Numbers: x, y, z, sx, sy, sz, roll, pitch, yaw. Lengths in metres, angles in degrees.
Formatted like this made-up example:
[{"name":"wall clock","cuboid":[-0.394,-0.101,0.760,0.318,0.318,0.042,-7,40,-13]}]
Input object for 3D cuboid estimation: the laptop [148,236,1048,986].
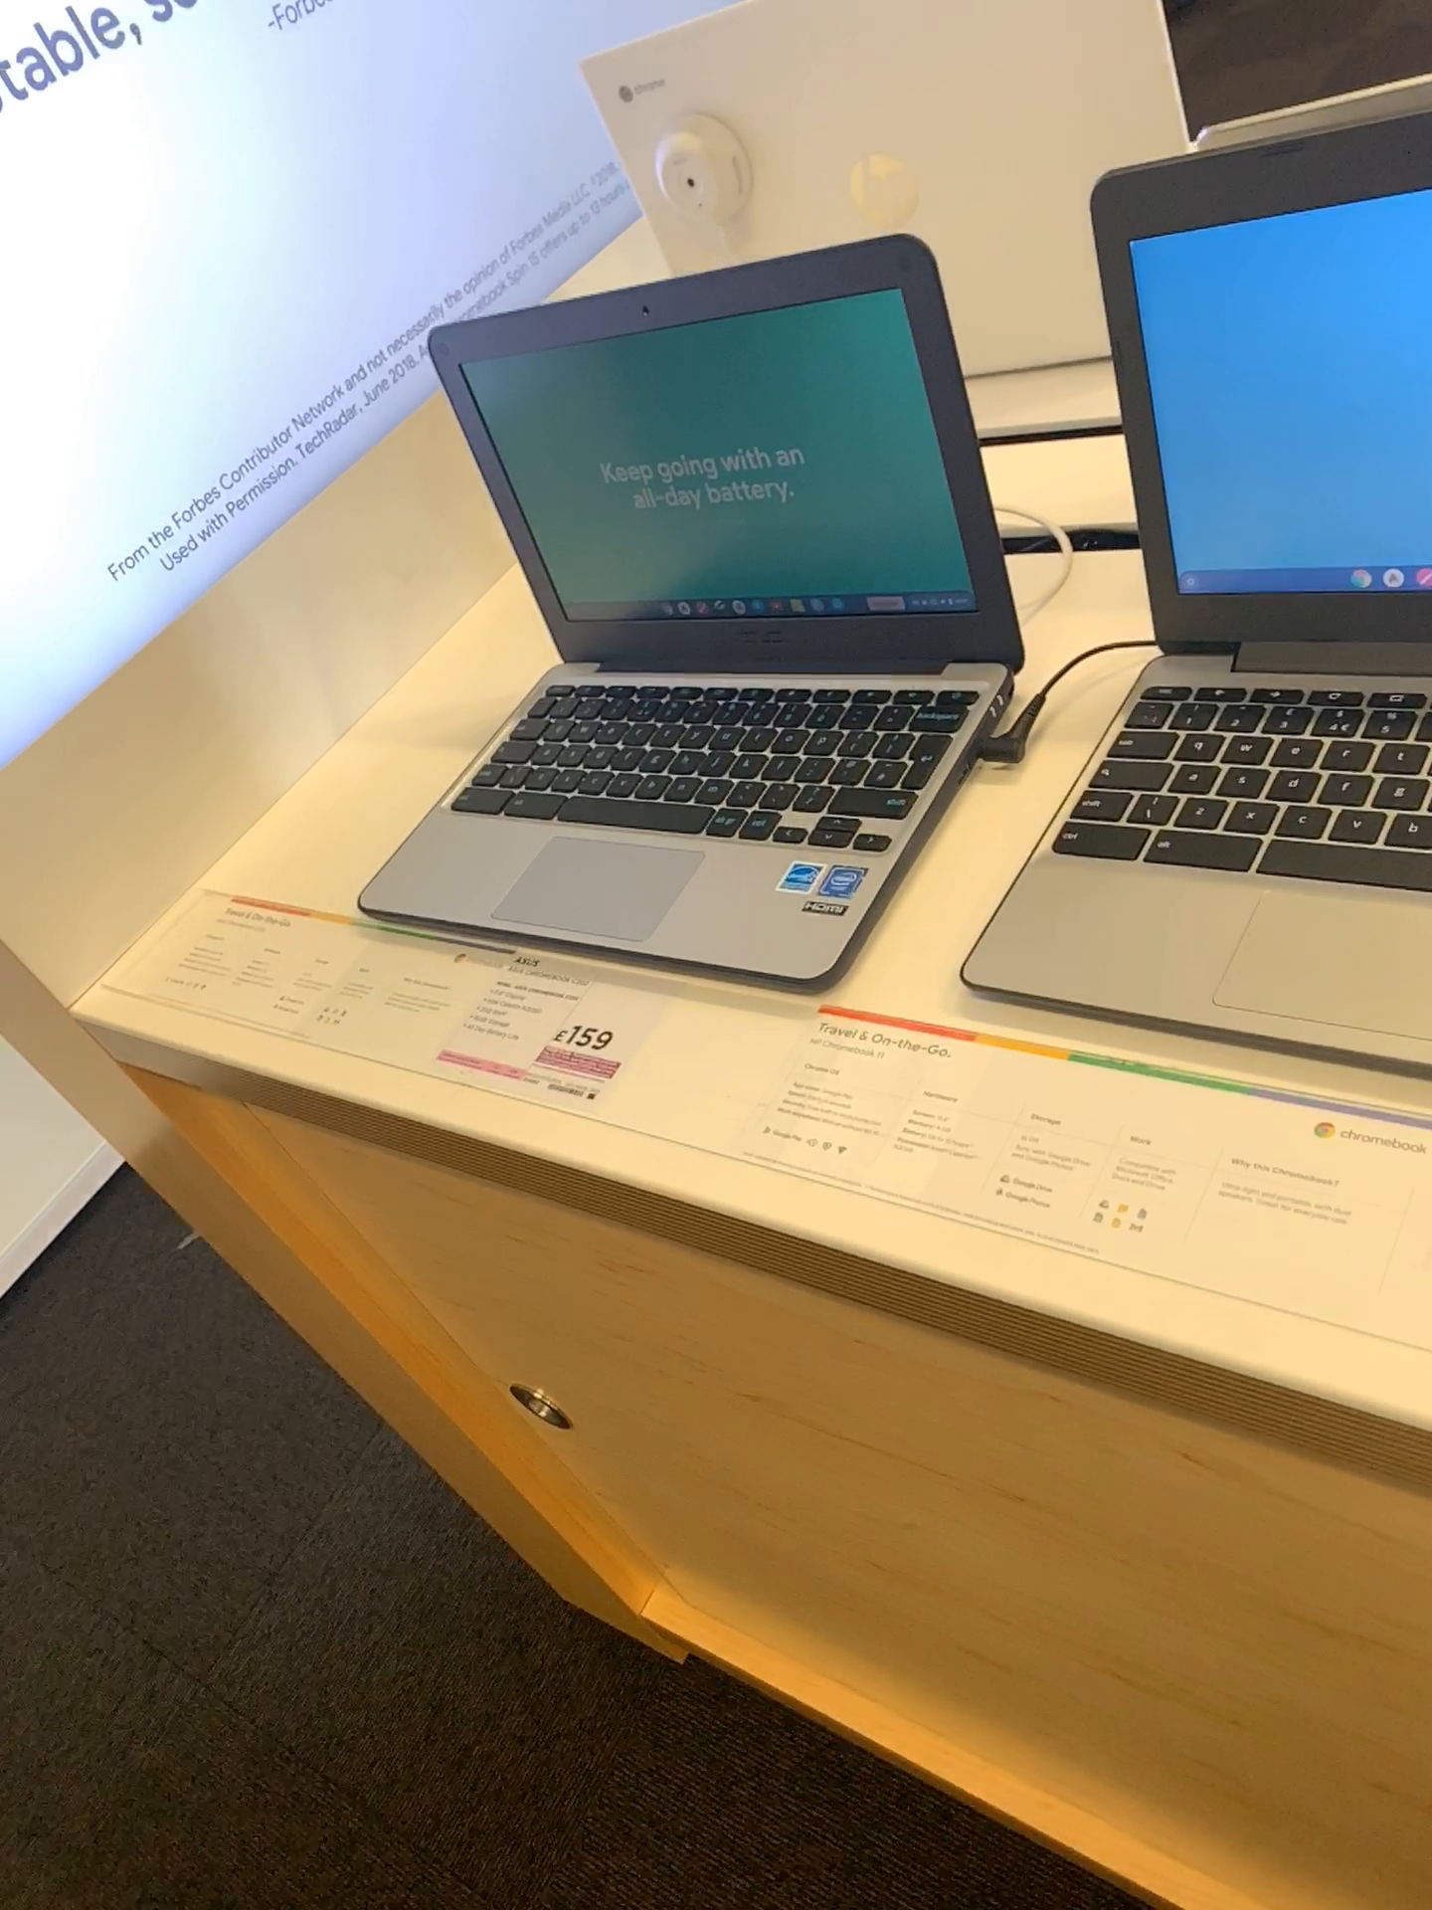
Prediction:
[{"name":"laptop","cuboid":[-0.045,-0.150,0.642,0.281,0.183,0.216,9,51,38]}]
